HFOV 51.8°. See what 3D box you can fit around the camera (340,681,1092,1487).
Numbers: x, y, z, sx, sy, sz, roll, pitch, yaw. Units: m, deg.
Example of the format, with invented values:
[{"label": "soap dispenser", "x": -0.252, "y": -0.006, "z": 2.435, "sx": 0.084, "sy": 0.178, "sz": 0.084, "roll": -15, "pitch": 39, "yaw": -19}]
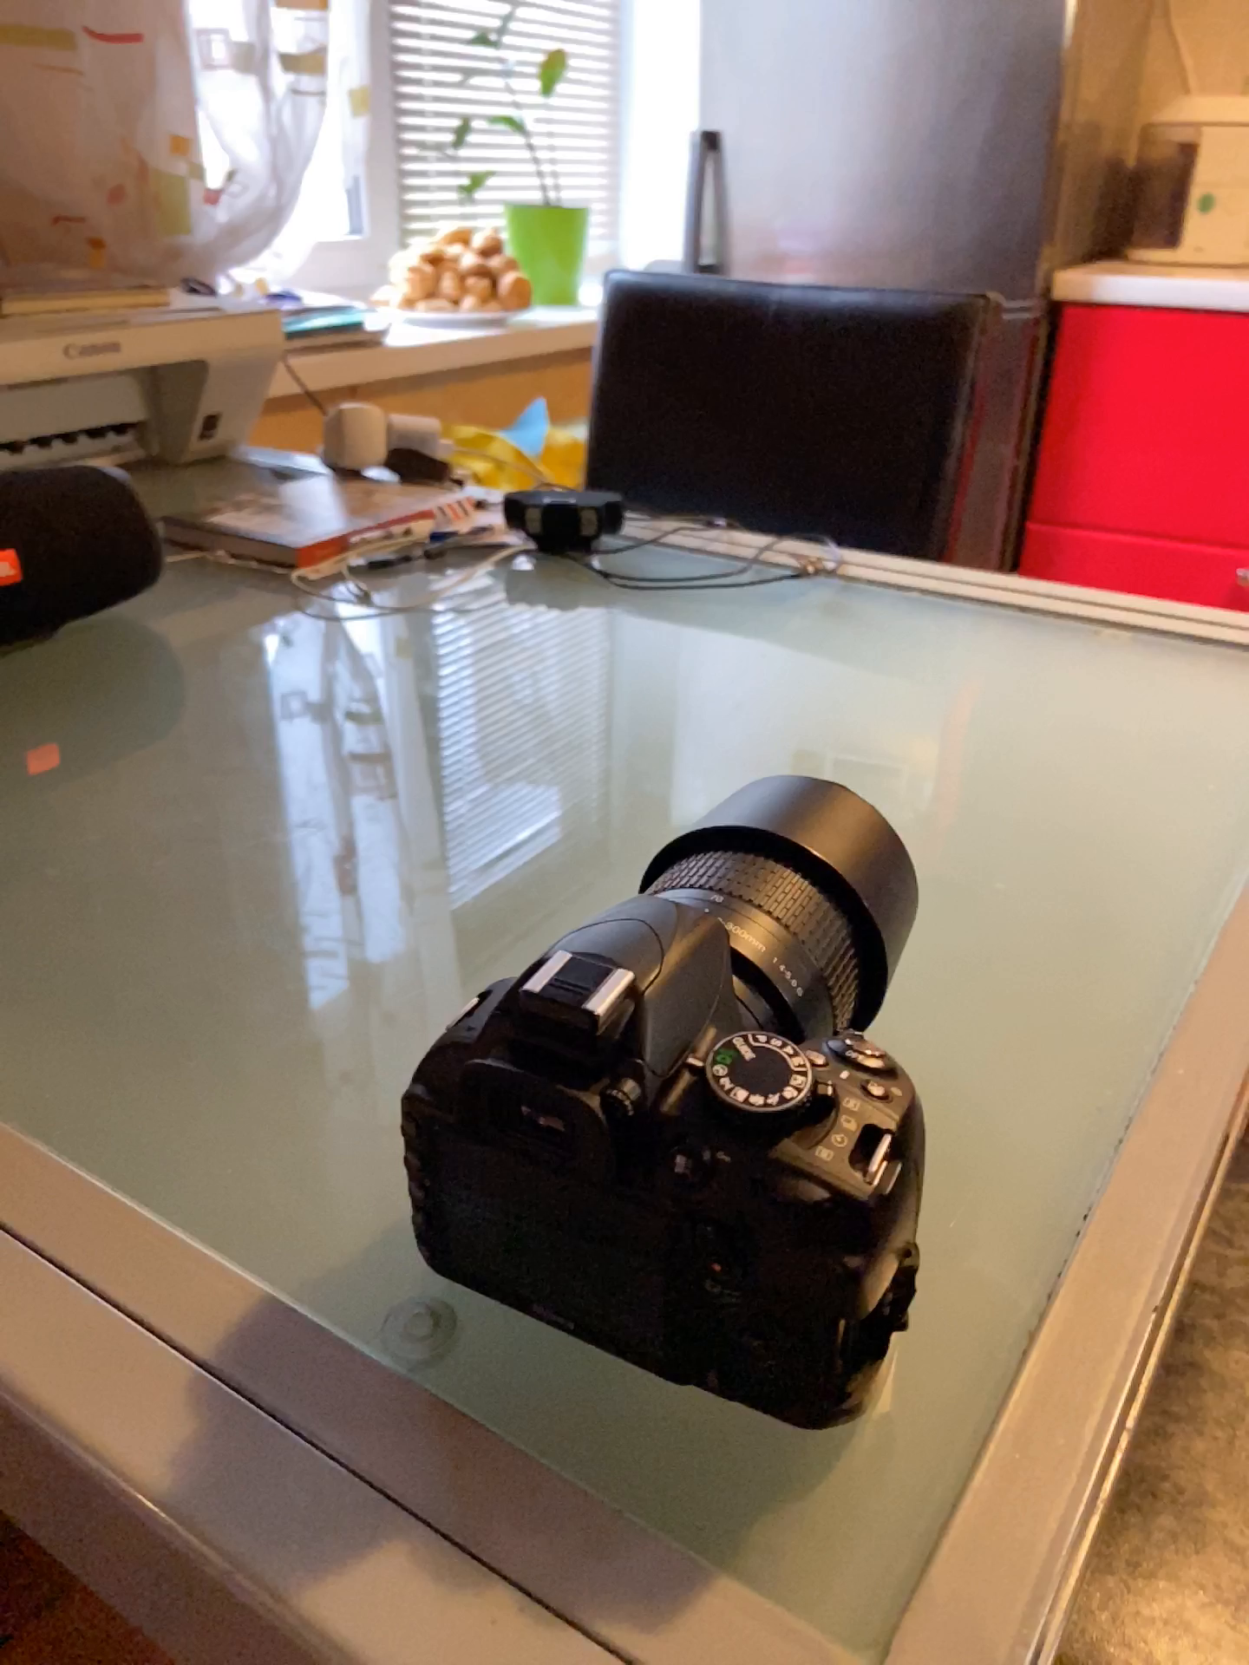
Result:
[{"label": "camera", "x": 0.041, "y": 0.047, "z": 0.379, "sx": 0.134, "sy": 0.099, "sz": 0.209, "roll": 14, "pitch": 30, "yaw": 24}]
